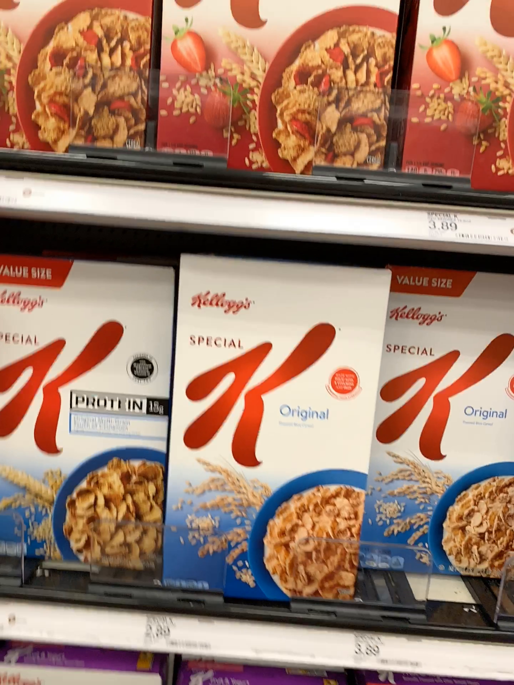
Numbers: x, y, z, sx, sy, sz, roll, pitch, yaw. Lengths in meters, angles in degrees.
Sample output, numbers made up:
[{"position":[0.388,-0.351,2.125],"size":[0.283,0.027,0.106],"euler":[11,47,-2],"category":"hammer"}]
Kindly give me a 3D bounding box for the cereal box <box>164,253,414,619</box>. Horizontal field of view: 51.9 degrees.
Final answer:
[{"position":[0.023,0.086,0.492],"size":[0.190,0.319,0.060],"euler":[5,9,-1],"category":"cereal box"}]
